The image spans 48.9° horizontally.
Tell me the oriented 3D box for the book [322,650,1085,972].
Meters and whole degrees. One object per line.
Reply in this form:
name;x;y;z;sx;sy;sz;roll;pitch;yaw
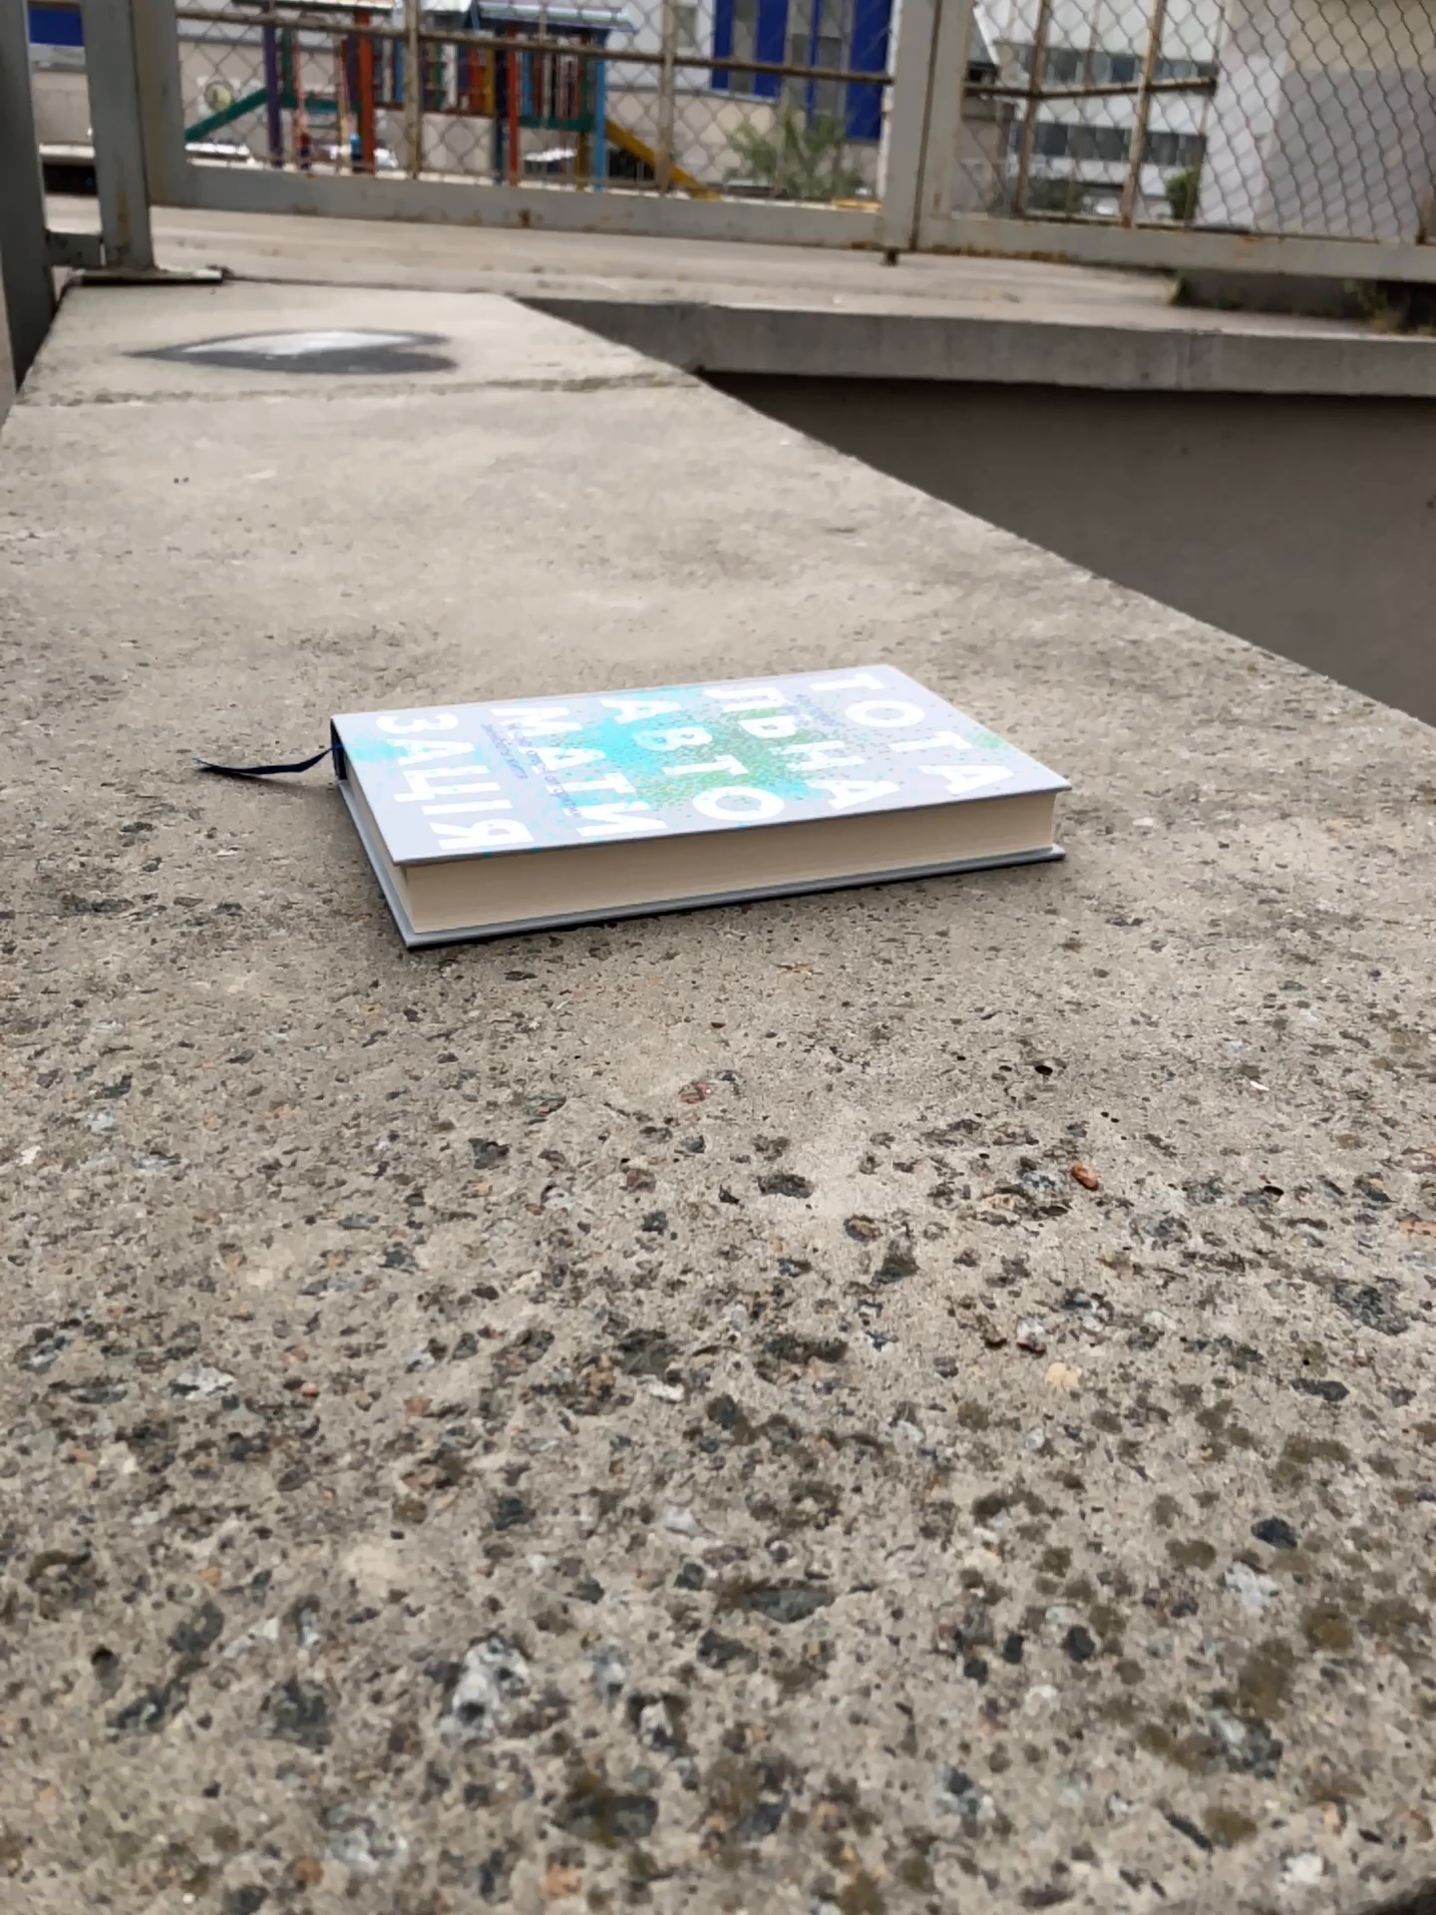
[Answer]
book;-0.012;-0.059;0.538;0.220;0.030;0.151;-9;29;-17
